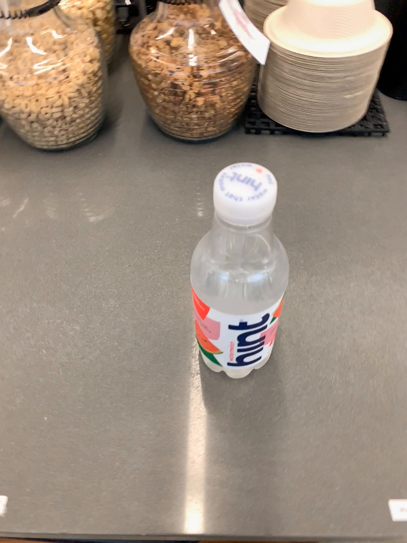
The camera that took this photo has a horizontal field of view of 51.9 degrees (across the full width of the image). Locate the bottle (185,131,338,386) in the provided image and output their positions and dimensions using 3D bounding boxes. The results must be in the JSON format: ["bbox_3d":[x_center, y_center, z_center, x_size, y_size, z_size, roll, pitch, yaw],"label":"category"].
[{"bbox_3d":[0.029,0.009,0.297,0.070,0.199,0.070,-1,54,1],"label":"bottle"}]
